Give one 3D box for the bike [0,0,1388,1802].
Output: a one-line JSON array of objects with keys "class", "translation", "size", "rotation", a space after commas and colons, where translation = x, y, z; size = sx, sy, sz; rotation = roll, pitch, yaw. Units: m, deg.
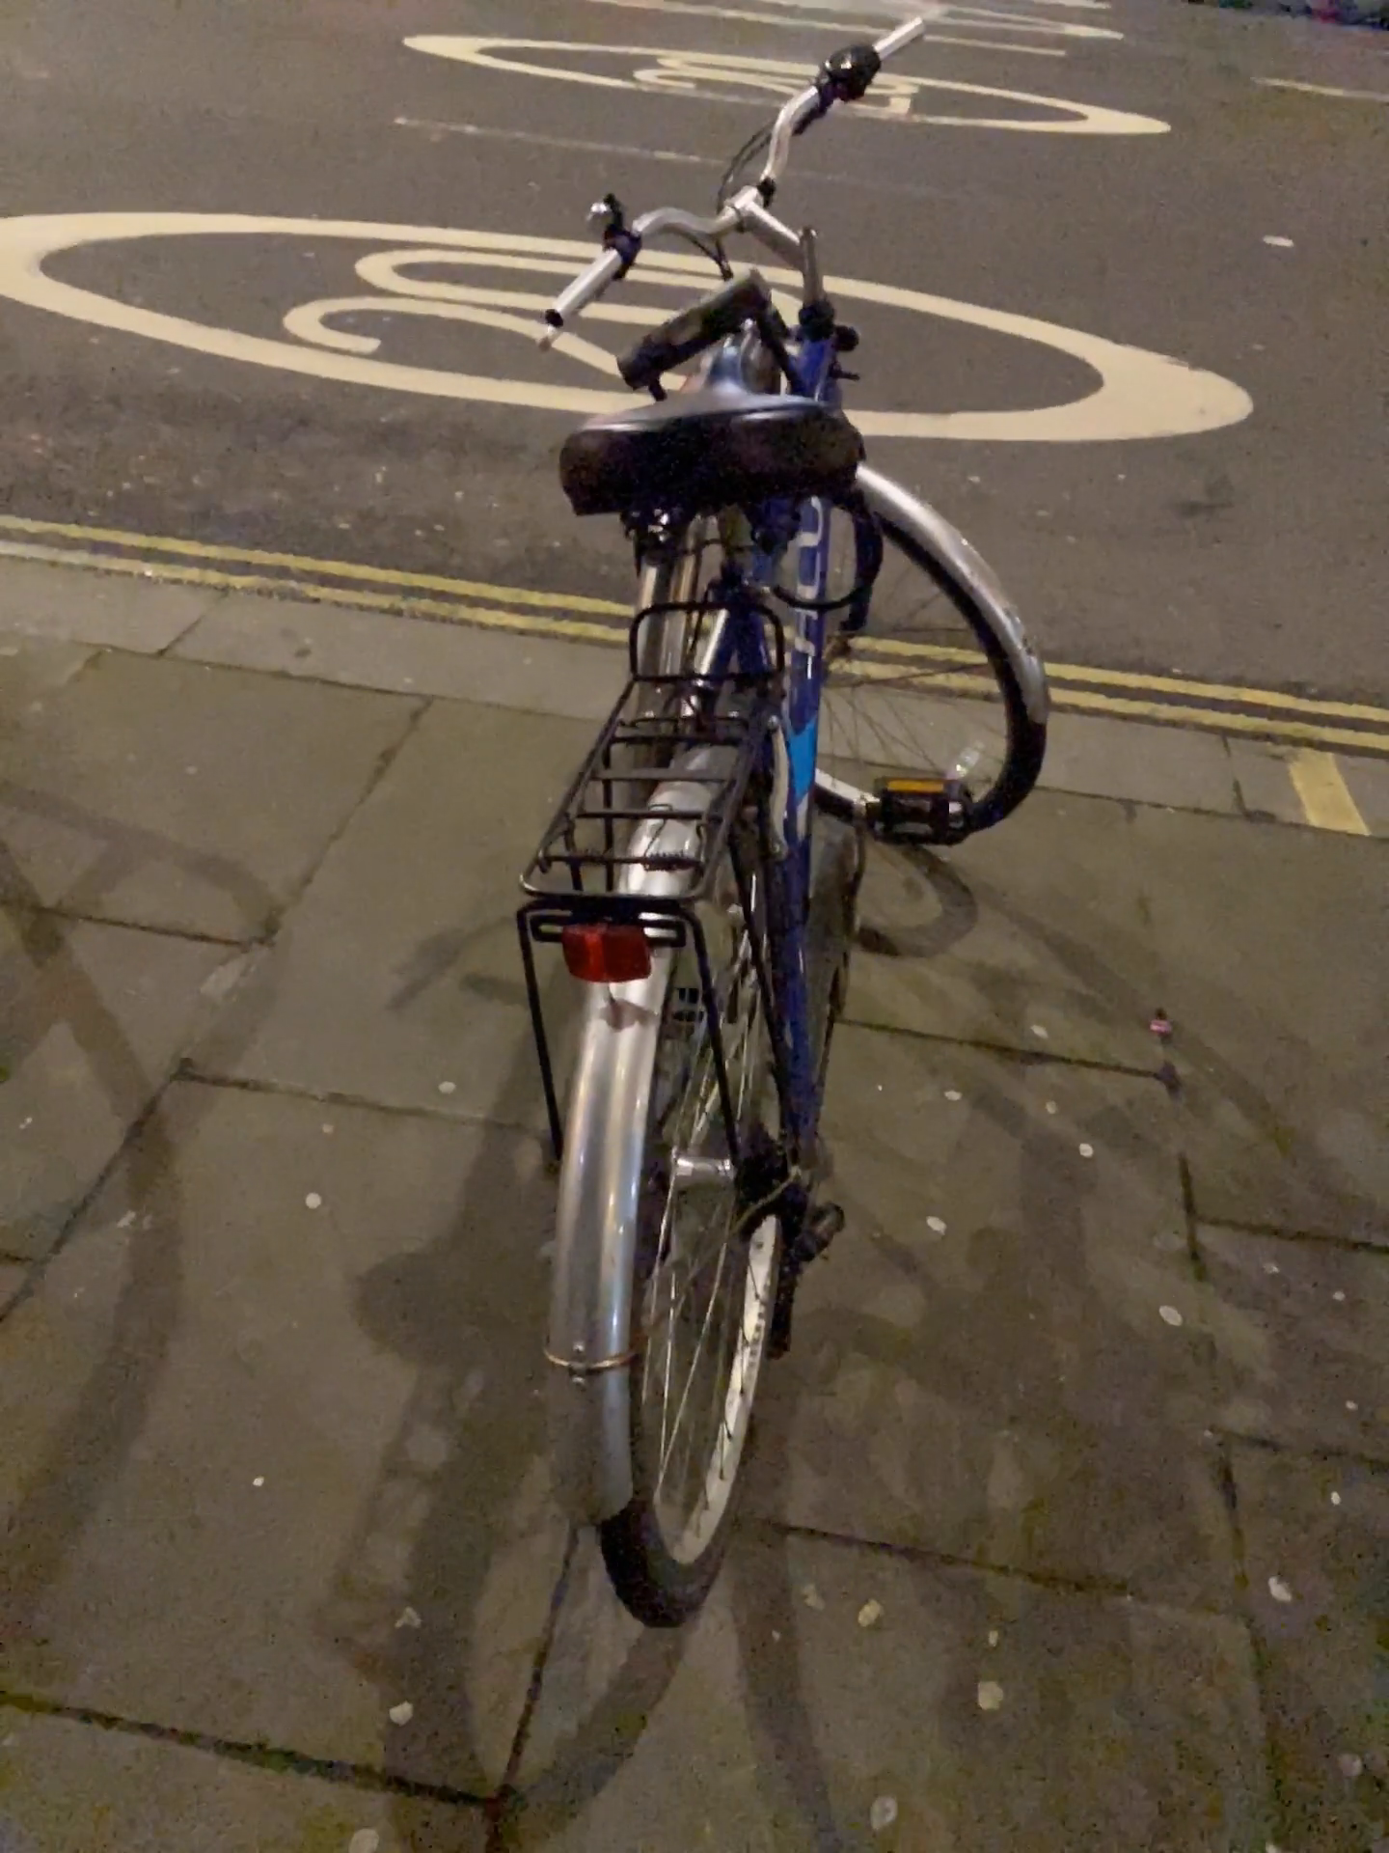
[{"class": "bike", "translation": [-0.065, -0.277, 1.437], "size": [0.655, 1.108, 1.604], "rotation": [3, 40, -2]}]
